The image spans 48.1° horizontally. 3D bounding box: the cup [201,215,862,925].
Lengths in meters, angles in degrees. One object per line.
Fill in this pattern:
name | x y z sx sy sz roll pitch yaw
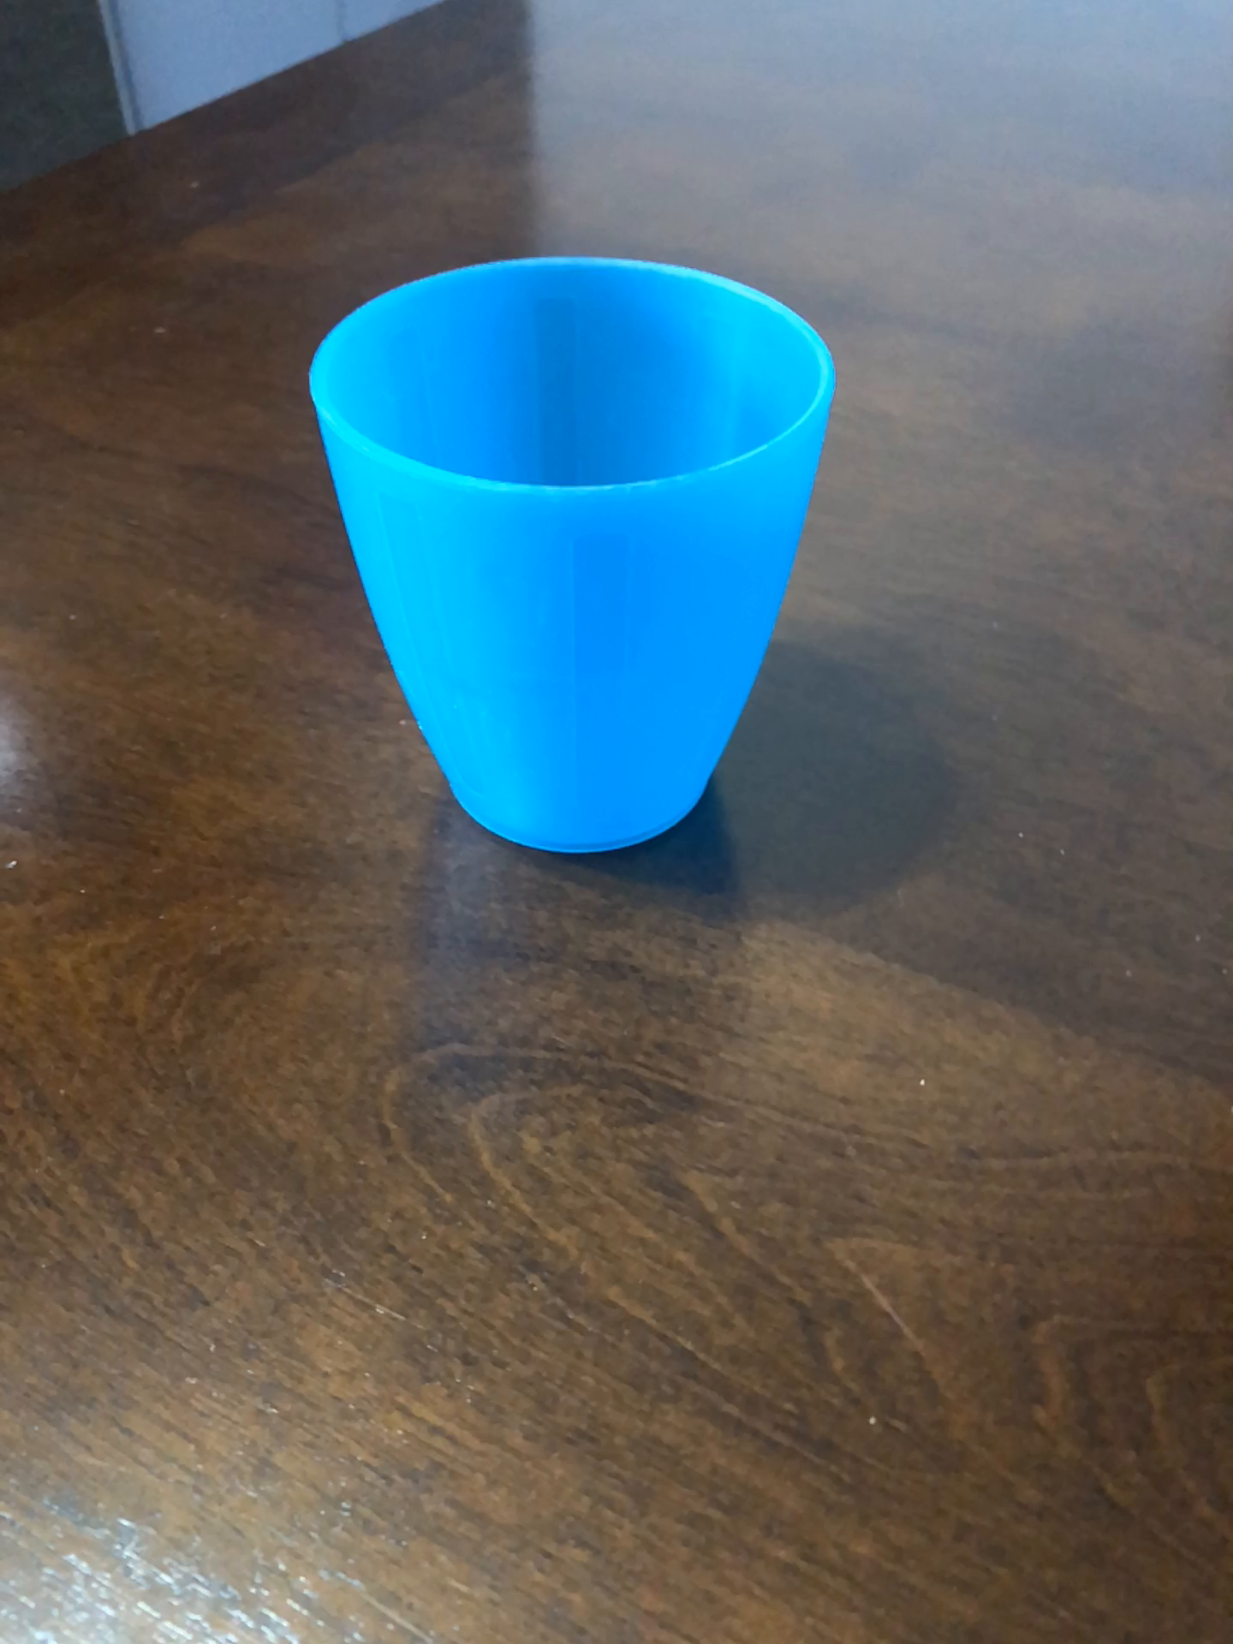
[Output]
cup | -0.007 -0.041 0.222 0.080 0.080 0.070 7 44 7
